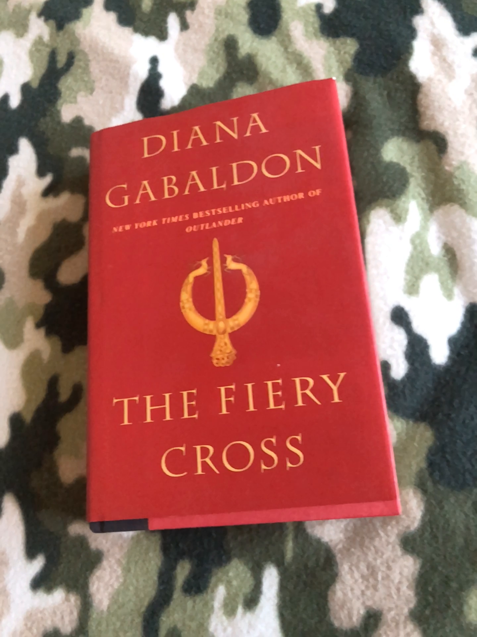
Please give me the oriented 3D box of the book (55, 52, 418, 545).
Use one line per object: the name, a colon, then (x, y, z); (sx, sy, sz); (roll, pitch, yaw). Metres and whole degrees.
book: (-0.008, -0.011, 0.312); (0.170, 0.070, 0.250); (-8, 73, 10)
